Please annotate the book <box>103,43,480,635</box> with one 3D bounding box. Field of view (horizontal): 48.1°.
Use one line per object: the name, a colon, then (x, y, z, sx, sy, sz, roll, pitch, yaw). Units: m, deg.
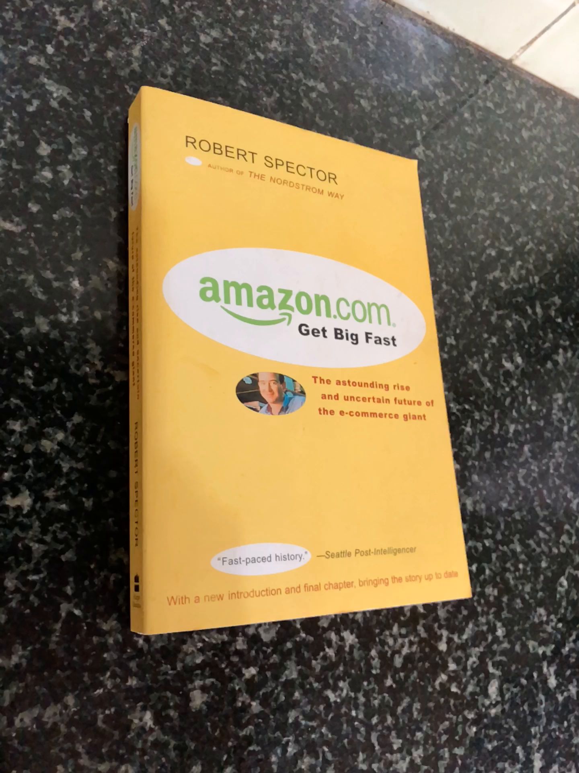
book: (0.000, -0.020, 0.263, 0.141, 0.030, 0.210, 5, 73, -29)
